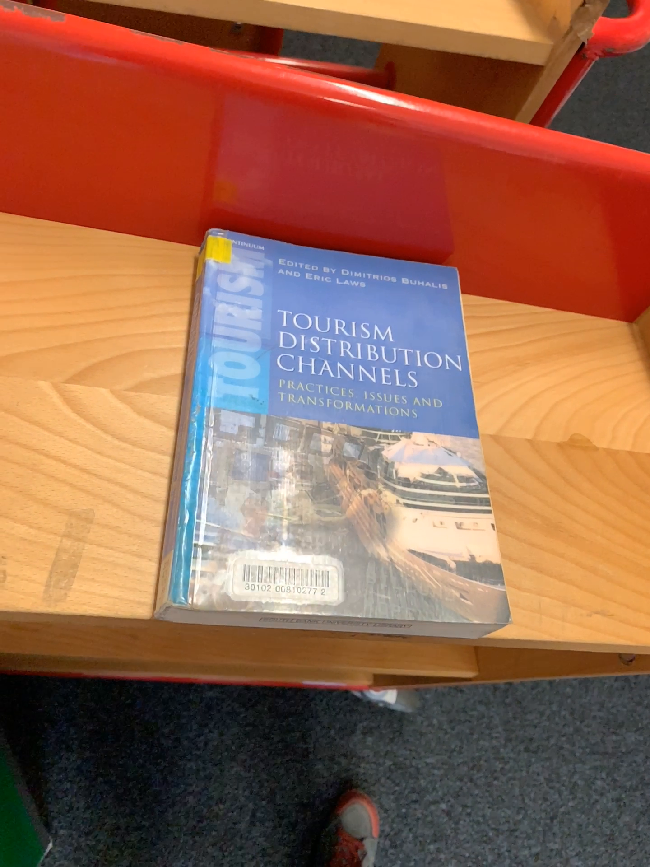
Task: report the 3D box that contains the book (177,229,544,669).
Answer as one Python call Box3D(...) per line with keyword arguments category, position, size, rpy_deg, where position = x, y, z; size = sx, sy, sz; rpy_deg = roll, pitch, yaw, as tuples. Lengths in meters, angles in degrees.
Box3D(category="book", position=(0.018, -0.001, 0.369), size=(0.167, 0.031, 0.239), rpy_deg=(8, 58, -13))
